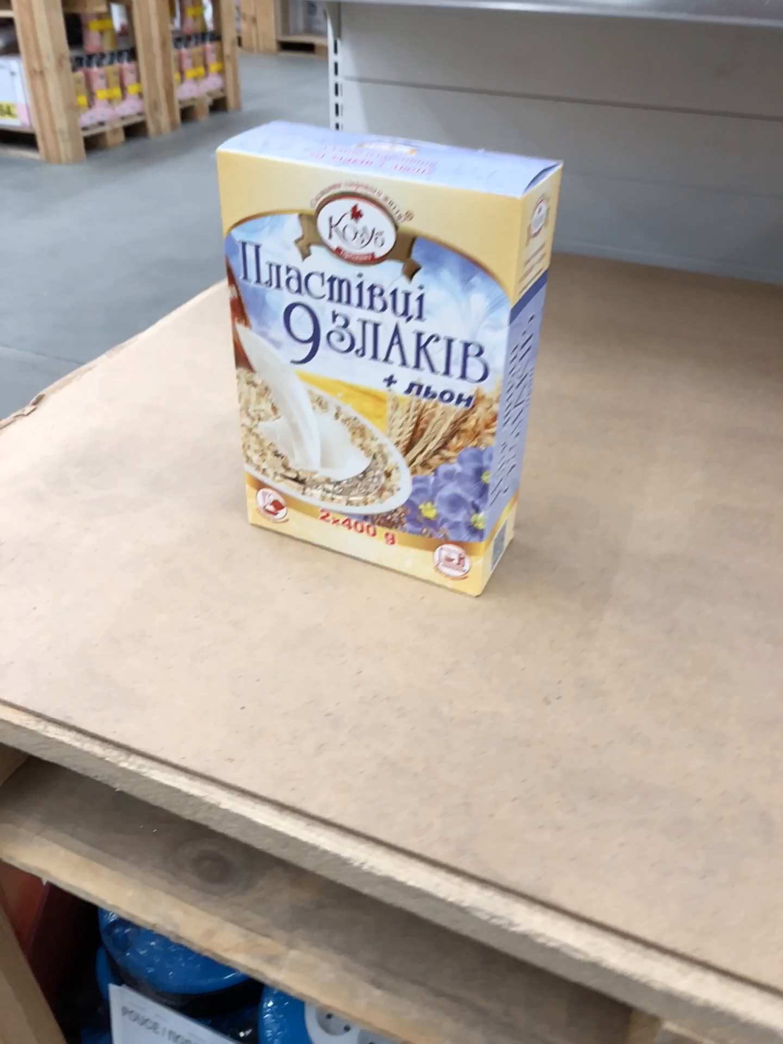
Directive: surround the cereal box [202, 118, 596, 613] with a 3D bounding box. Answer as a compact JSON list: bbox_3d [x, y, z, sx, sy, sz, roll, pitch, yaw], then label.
[{"bbox_3d":[0.000,-0.085,0.493,0.180,0.238,0.070,16,39,19],"label":"cereal box"}]
